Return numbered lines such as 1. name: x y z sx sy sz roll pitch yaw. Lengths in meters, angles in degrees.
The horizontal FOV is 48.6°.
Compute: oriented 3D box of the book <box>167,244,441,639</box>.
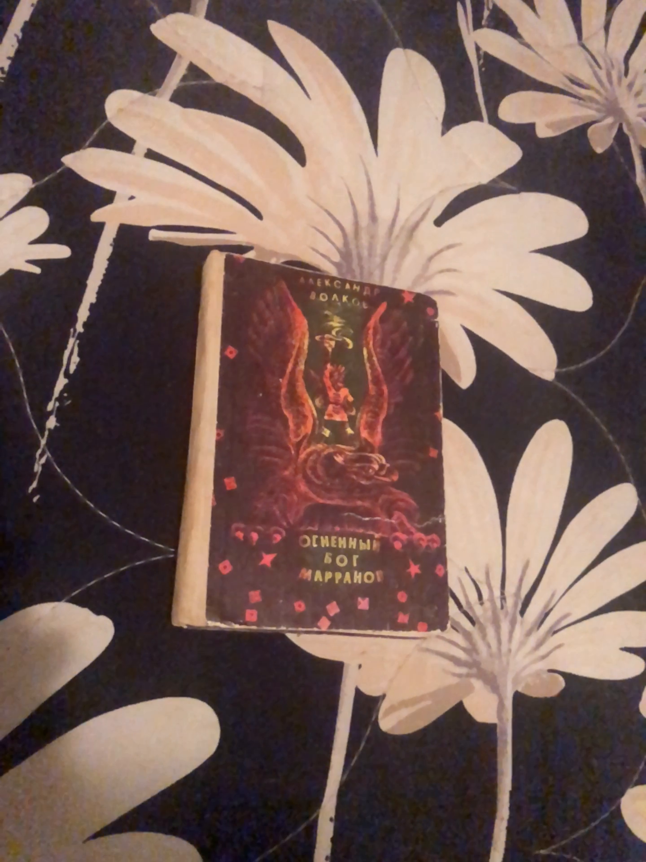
1. book: -0.003 0.008 0.417 0.152 0.019 0.211 8 75 -21
